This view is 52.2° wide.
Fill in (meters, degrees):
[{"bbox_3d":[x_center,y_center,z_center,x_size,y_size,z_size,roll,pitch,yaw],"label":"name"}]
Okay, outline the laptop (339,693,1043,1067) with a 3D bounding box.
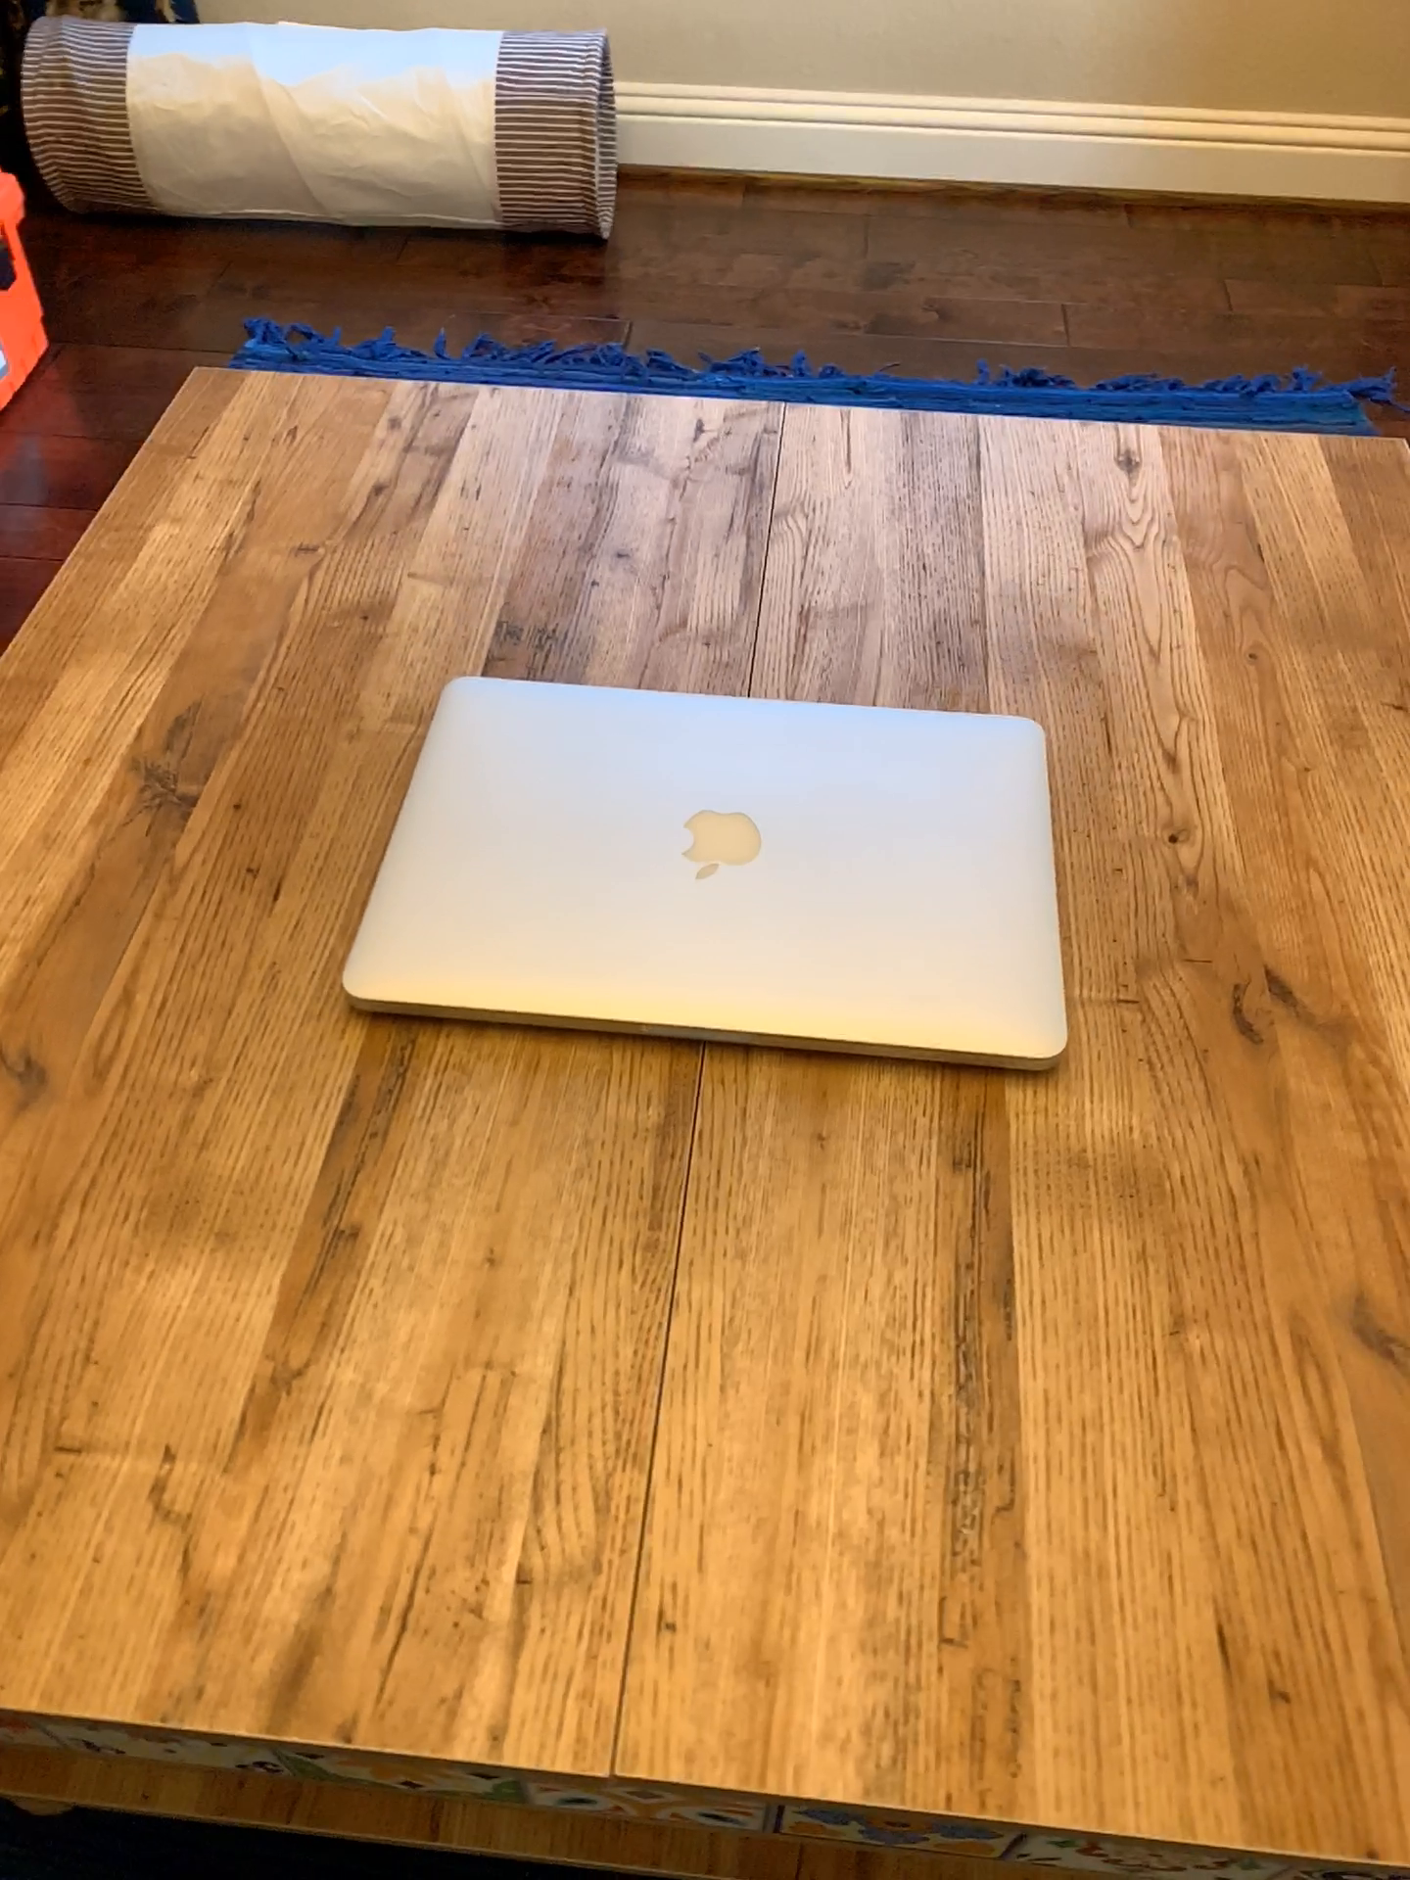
[{"bbox_3d":[0.003,-0.038,0.673,0.298,0.002,0.208,4,50,4],"label":"laptop"}]
